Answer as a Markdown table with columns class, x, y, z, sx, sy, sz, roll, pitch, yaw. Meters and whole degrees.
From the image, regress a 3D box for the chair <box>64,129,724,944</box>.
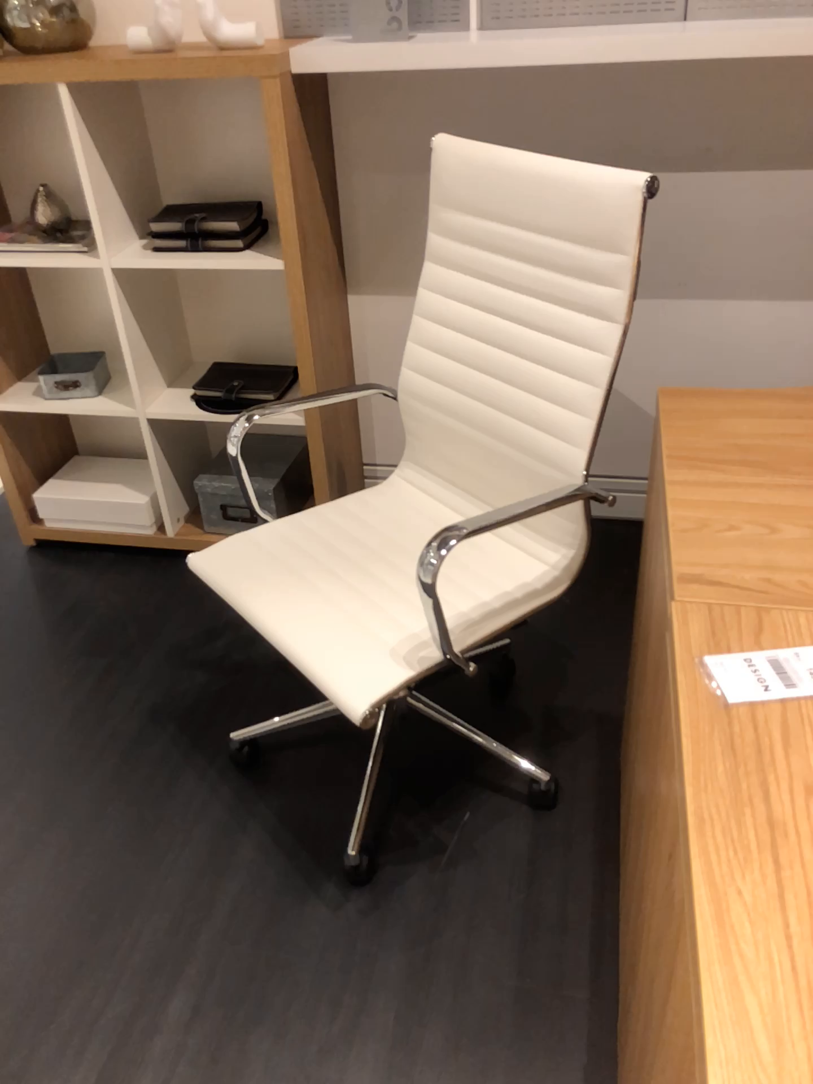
| class | x | y | z | sx | sy | sz | roll | pitch | yaw |
| --- | --- | --- | --- | --- | --- | --- | --- | --- | --- |
| chair | -0.011 | -0.053 | 1.457 | 0.632 | 1.012 | 0.633 | -25 | 39 | -30 |
